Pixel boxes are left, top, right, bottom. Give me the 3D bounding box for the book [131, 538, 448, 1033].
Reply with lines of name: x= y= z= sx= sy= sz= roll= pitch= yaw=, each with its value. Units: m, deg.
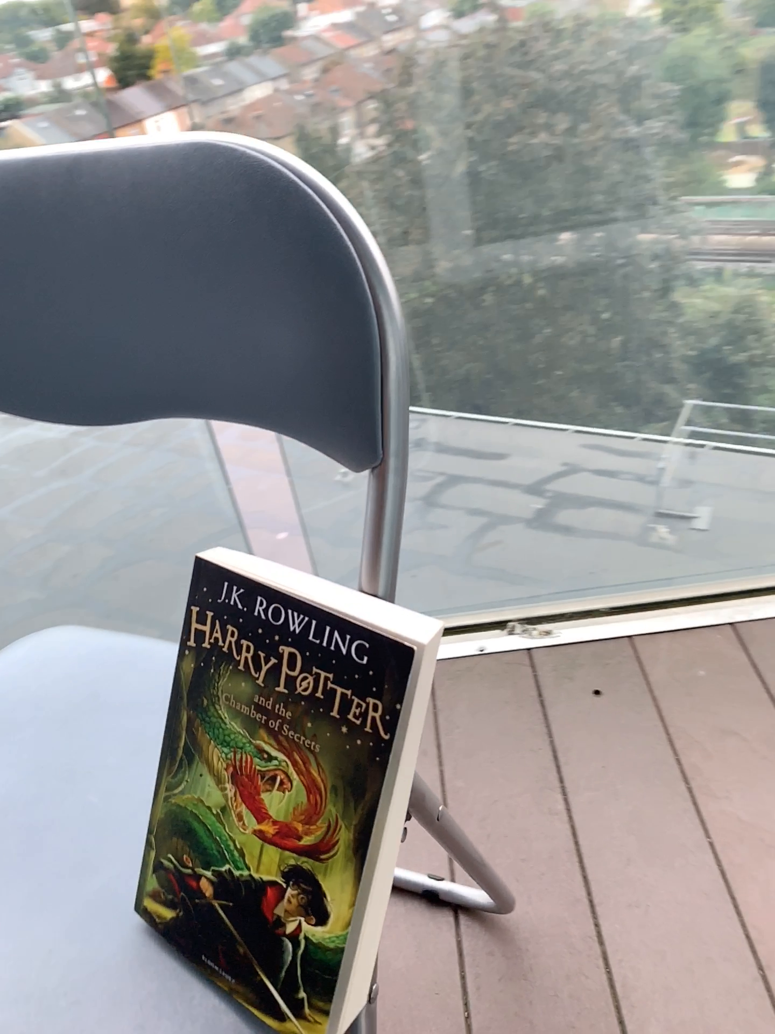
book: x=-0.056 y=0.126 z=0.385 sx=0.141 sy=0.199 sz=0.040 roll=16 pitch=14 yaw=33
